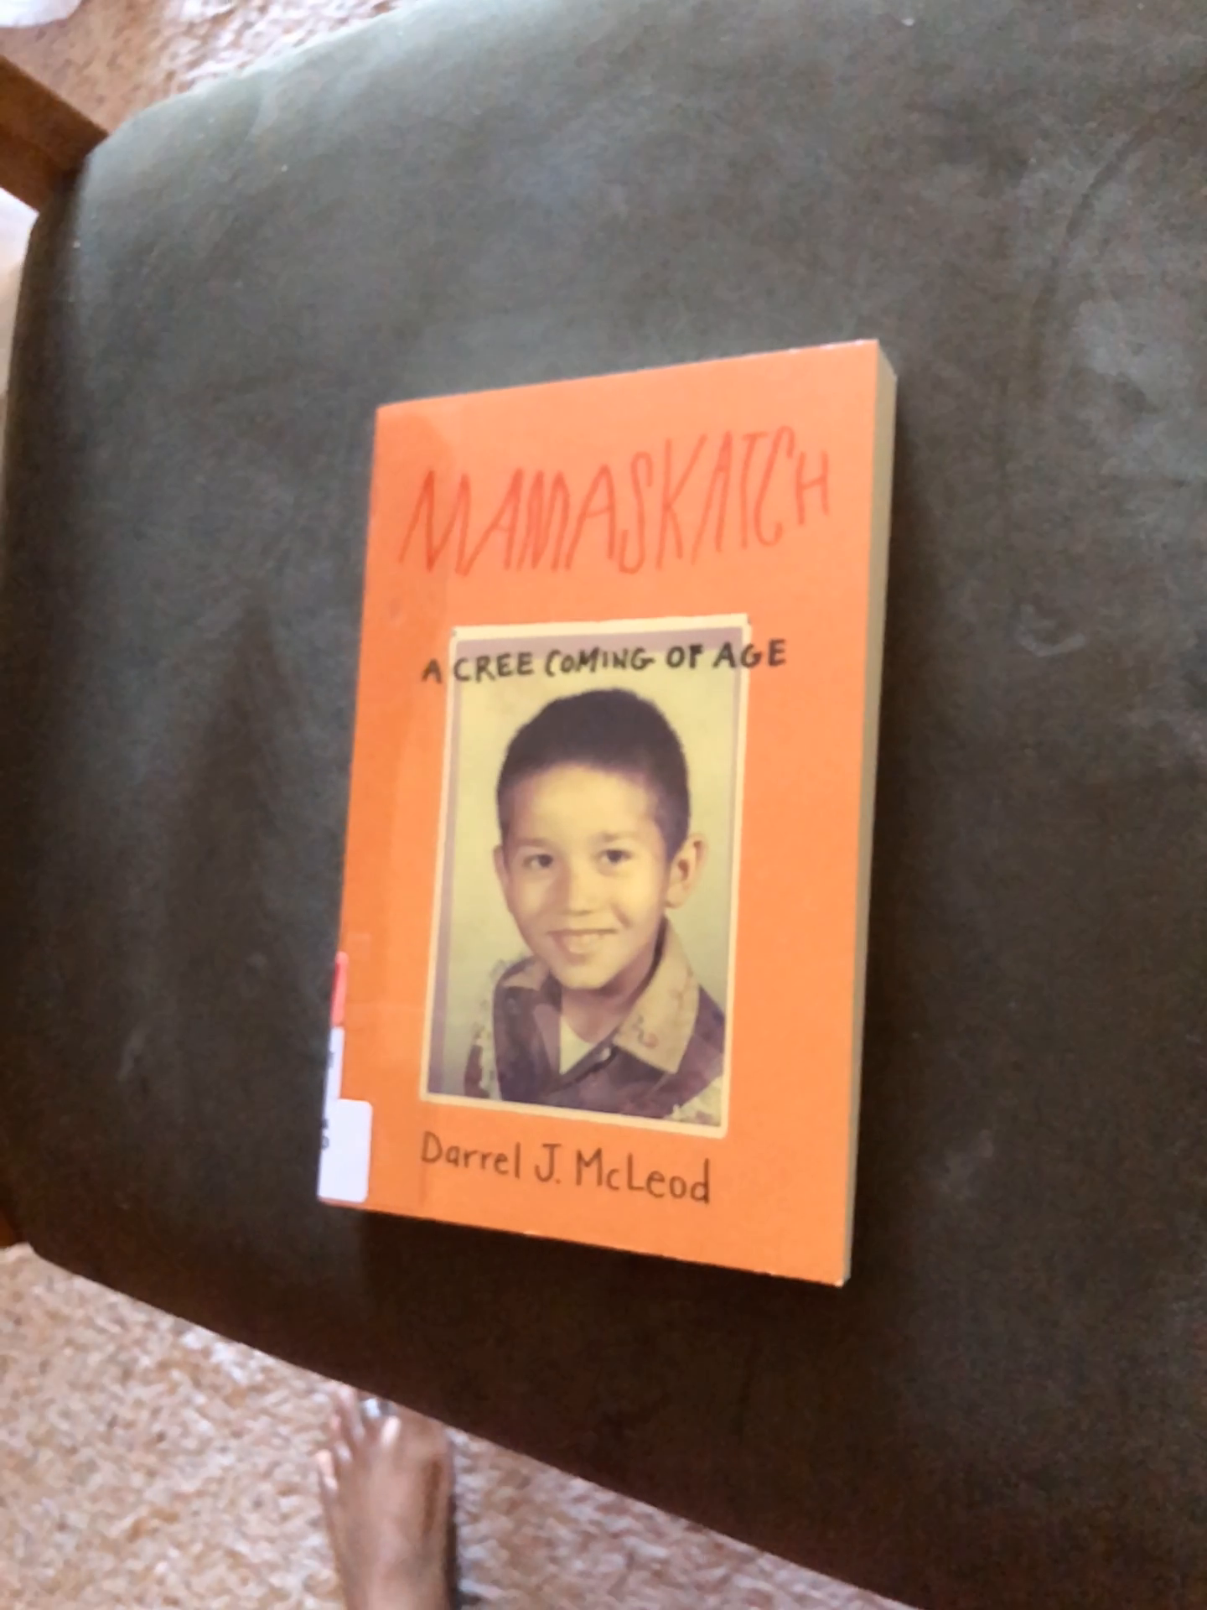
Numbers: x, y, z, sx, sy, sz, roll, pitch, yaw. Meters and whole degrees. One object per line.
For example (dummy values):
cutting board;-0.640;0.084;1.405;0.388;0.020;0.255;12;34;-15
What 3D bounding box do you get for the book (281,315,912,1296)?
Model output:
book;-0.003;-0.002;0.350;0.150;0.040;0.218;1;86;26
